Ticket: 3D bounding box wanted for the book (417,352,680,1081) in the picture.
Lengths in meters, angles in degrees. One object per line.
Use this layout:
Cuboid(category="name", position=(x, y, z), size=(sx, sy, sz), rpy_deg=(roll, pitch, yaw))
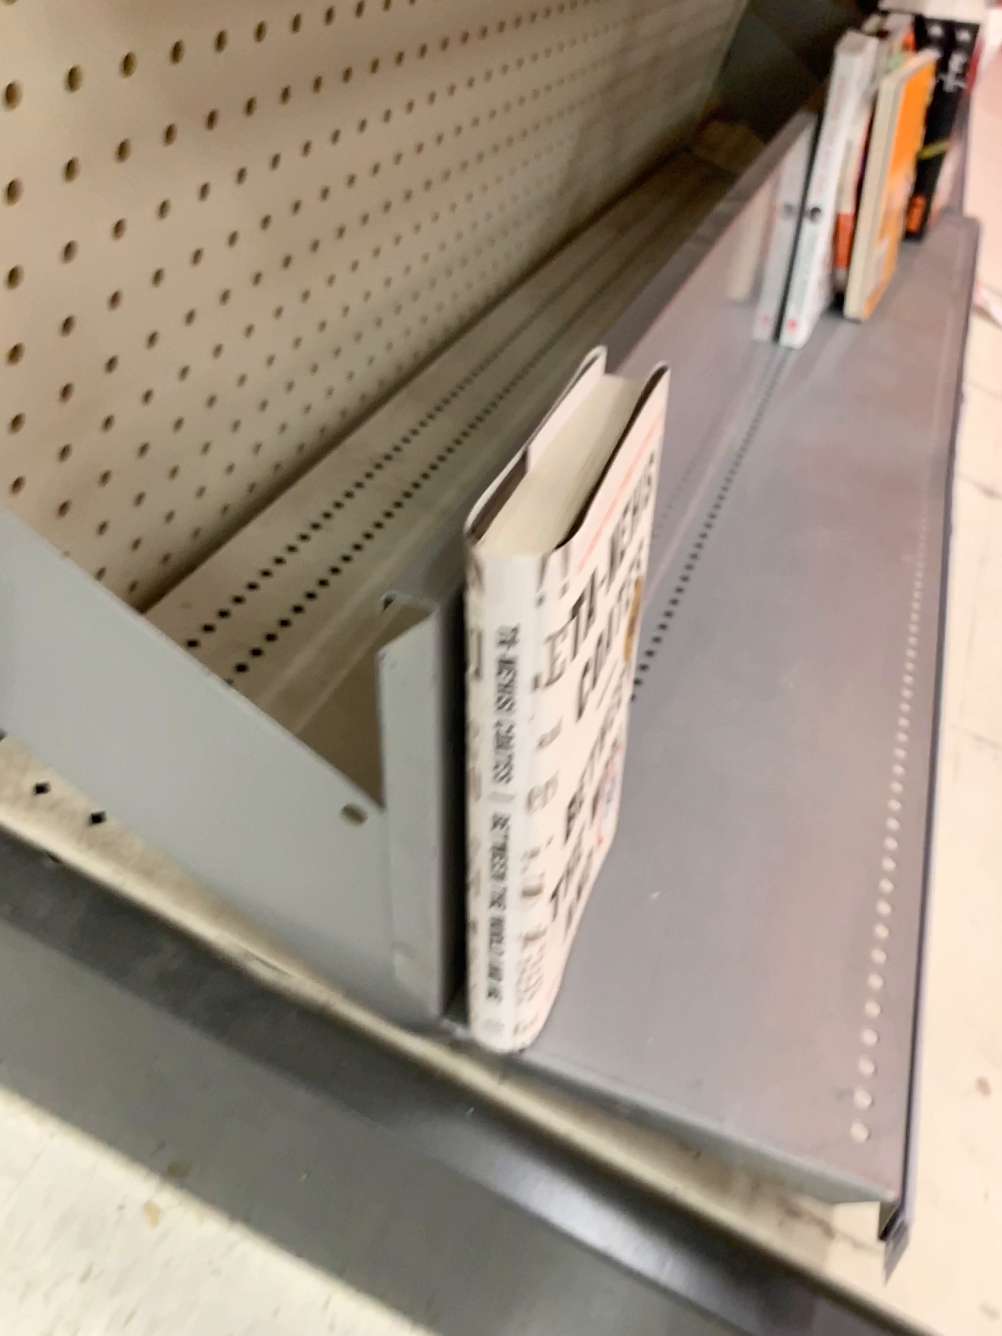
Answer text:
Cuboid(category="book", position=(0.020, 0.017, 0.327), size=(0.030, 0.186, 0.130), rpy_deg=(11, 40, 16))
